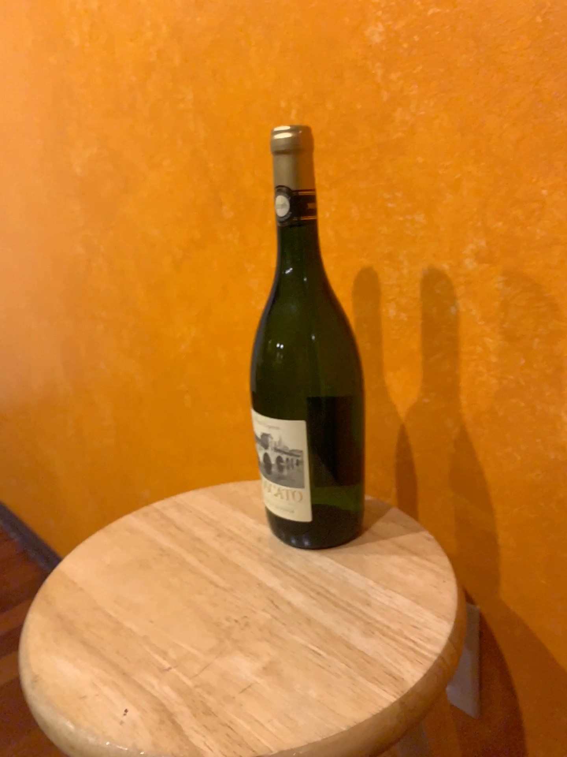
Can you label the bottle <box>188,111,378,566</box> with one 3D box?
[{"bbox_3d":[0.004,-0.026,0.418,0.070,0.289,0.090,-17,20,-34],"label":"bottle"}]
